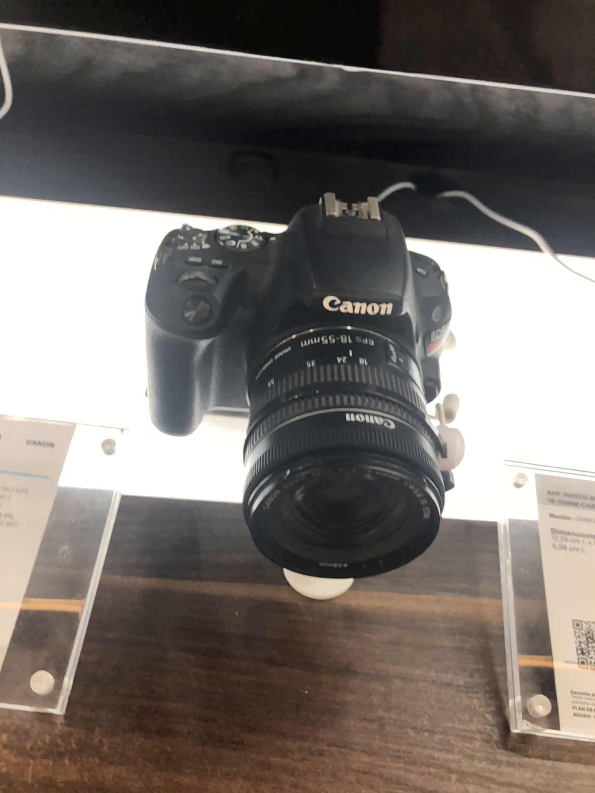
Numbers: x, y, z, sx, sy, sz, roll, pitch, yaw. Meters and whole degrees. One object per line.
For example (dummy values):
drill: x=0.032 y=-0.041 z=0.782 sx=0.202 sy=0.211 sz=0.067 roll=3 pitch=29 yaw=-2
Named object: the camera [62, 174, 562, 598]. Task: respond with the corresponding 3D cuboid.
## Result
camera: x=0.001 y=-0.008 z=0.235 sx=0.124 sy=0.082 sz=0.119 roll=5 pitch=42 yaw=-4
